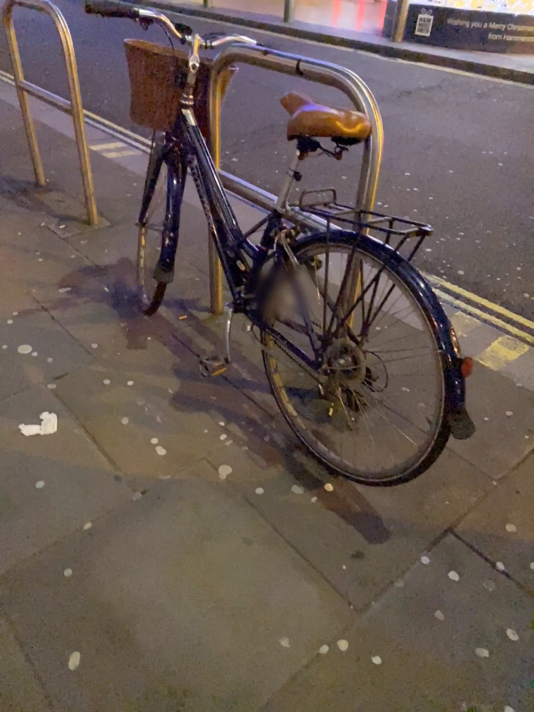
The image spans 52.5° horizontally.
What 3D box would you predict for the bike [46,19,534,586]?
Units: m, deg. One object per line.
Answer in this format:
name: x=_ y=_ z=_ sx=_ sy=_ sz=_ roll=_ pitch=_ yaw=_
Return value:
bike: x=-0.023 y=-0.391 z=1.732 sx=0.661 sy=1.063 sz=1.717 roll=-20 pitch=41 yaw=-28
